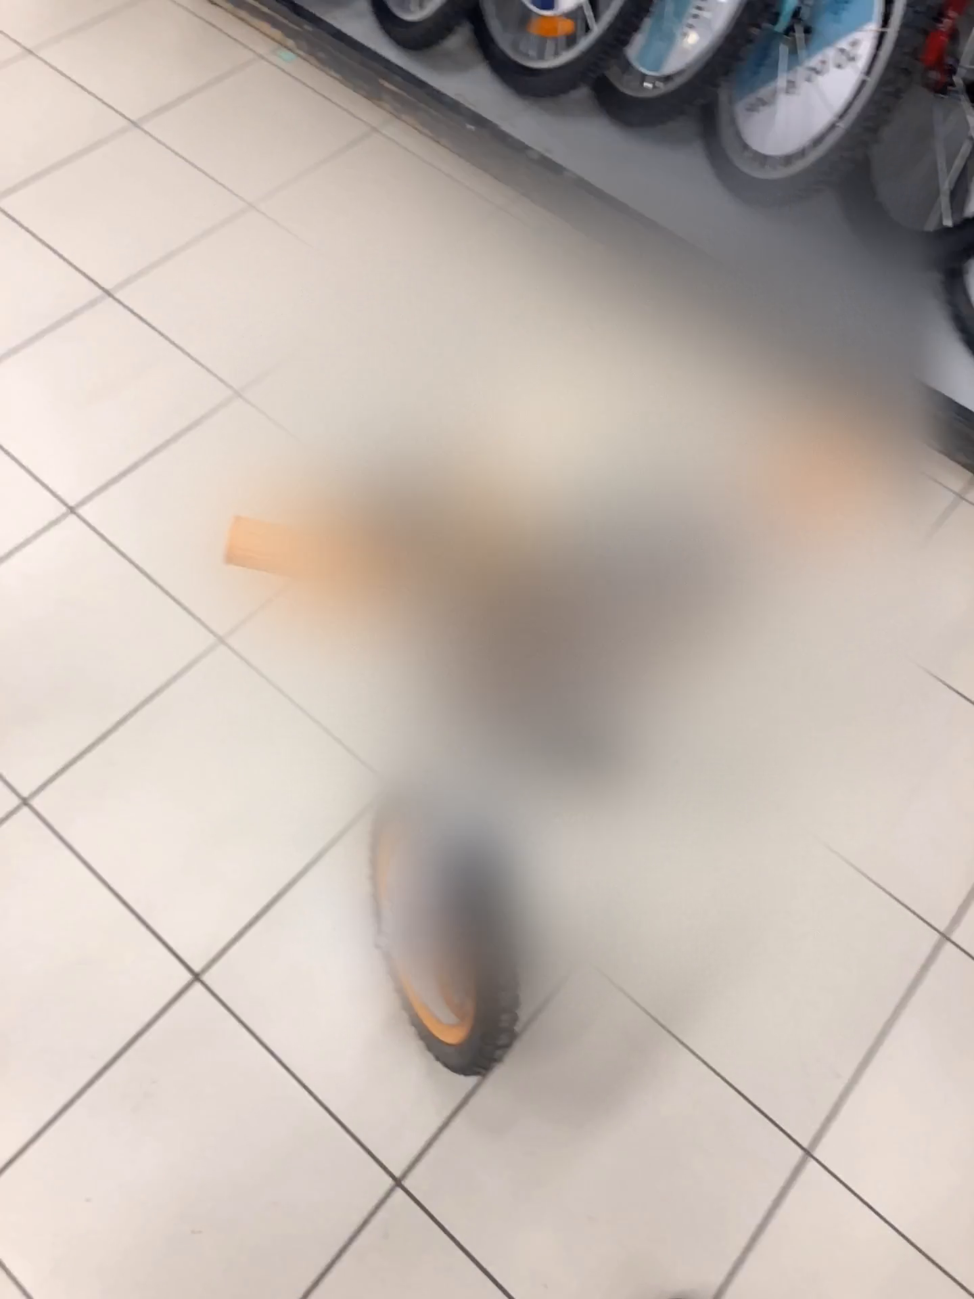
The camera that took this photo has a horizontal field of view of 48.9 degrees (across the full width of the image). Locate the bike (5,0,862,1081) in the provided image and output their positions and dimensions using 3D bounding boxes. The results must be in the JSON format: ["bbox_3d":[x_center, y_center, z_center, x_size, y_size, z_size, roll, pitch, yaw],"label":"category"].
[{"bbox_3d":[-0.003,-0.073,1.057,0.435,0.714,0.818,5,60,-1],"label":"bike"}]
